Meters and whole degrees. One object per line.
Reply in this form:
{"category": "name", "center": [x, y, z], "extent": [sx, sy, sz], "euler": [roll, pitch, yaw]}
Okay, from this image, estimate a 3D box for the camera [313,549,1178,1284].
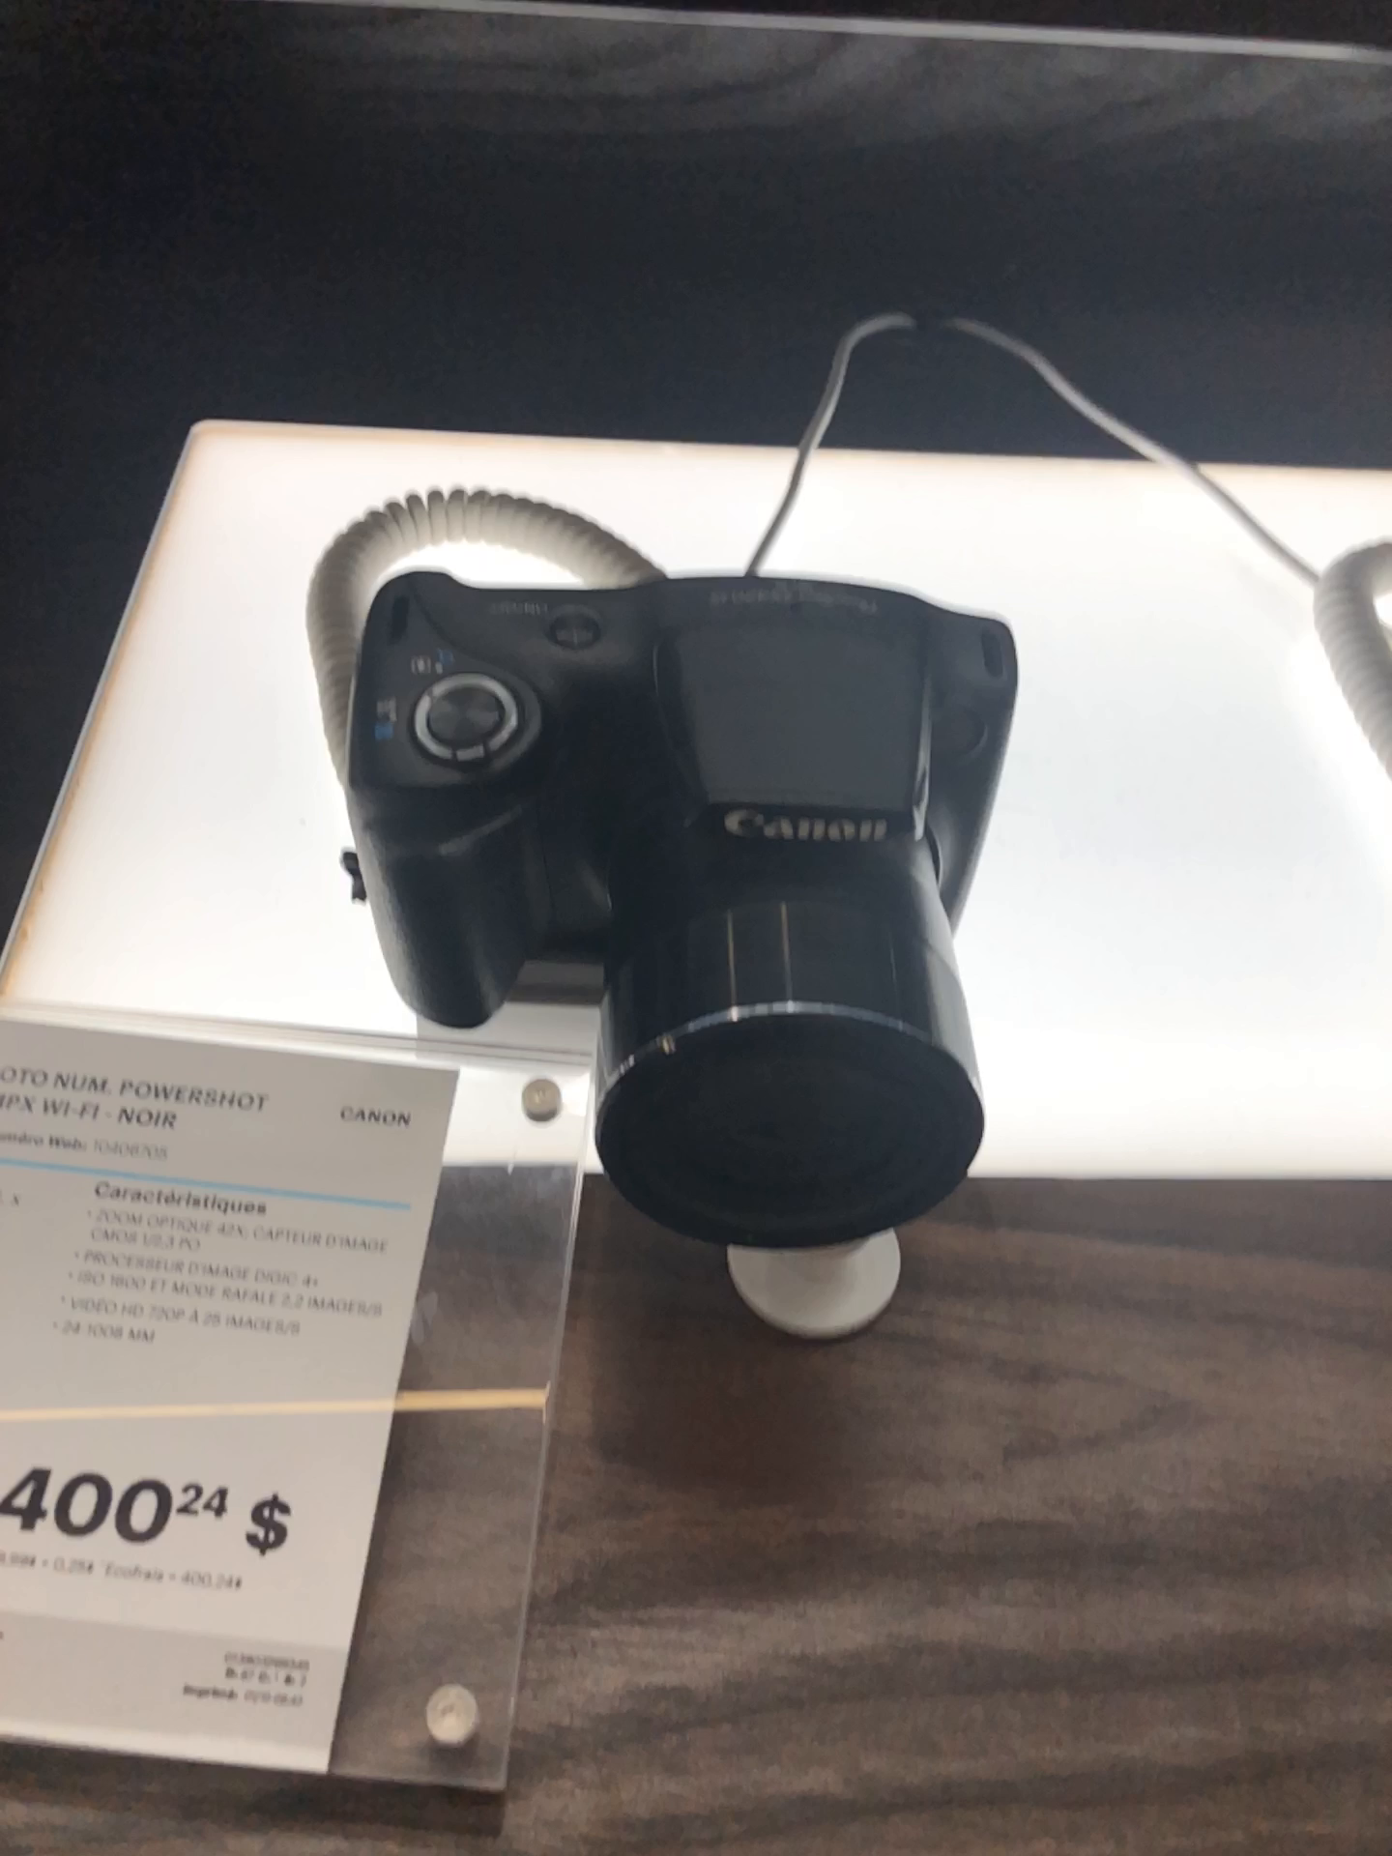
{"category": "camera", "center": [0.002, -0.003, 0.236], "extent": [0.102, 0.074, 0.081], "euler": [-2, 47, -6]}
